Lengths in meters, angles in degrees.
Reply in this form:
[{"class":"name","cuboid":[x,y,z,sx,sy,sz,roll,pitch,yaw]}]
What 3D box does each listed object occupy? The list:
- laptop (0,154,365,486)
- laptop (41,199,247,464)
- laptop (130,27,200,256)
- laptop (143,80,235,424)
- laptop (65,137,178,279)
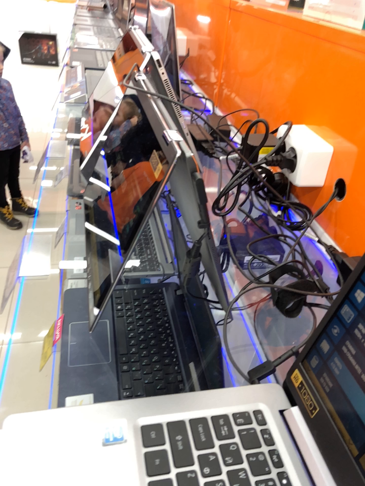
[{"class":"laptop","cuboid":[0.060,0.141,0.133,0.272,0.209,0.352,-4,35,-14]},{"class":"laptop","cuboid":[-0.085,0.115,0.670,0.238,0.222,0.362,-1,34,-13]},{"class":"laptop","cuboid":[-0.046,-0.214,0.840,0.182,0.148,0.300,32,22,-31]},{"class":"laptop","cuboid":[-0.004,0.008,0.532,0.182,0.142,0.278,36,20,-28]},{"class":"laptop","cuboid":[-0.169,-0.106,1.004,0.222,0.202,0.365,-3,33,-10]}]
